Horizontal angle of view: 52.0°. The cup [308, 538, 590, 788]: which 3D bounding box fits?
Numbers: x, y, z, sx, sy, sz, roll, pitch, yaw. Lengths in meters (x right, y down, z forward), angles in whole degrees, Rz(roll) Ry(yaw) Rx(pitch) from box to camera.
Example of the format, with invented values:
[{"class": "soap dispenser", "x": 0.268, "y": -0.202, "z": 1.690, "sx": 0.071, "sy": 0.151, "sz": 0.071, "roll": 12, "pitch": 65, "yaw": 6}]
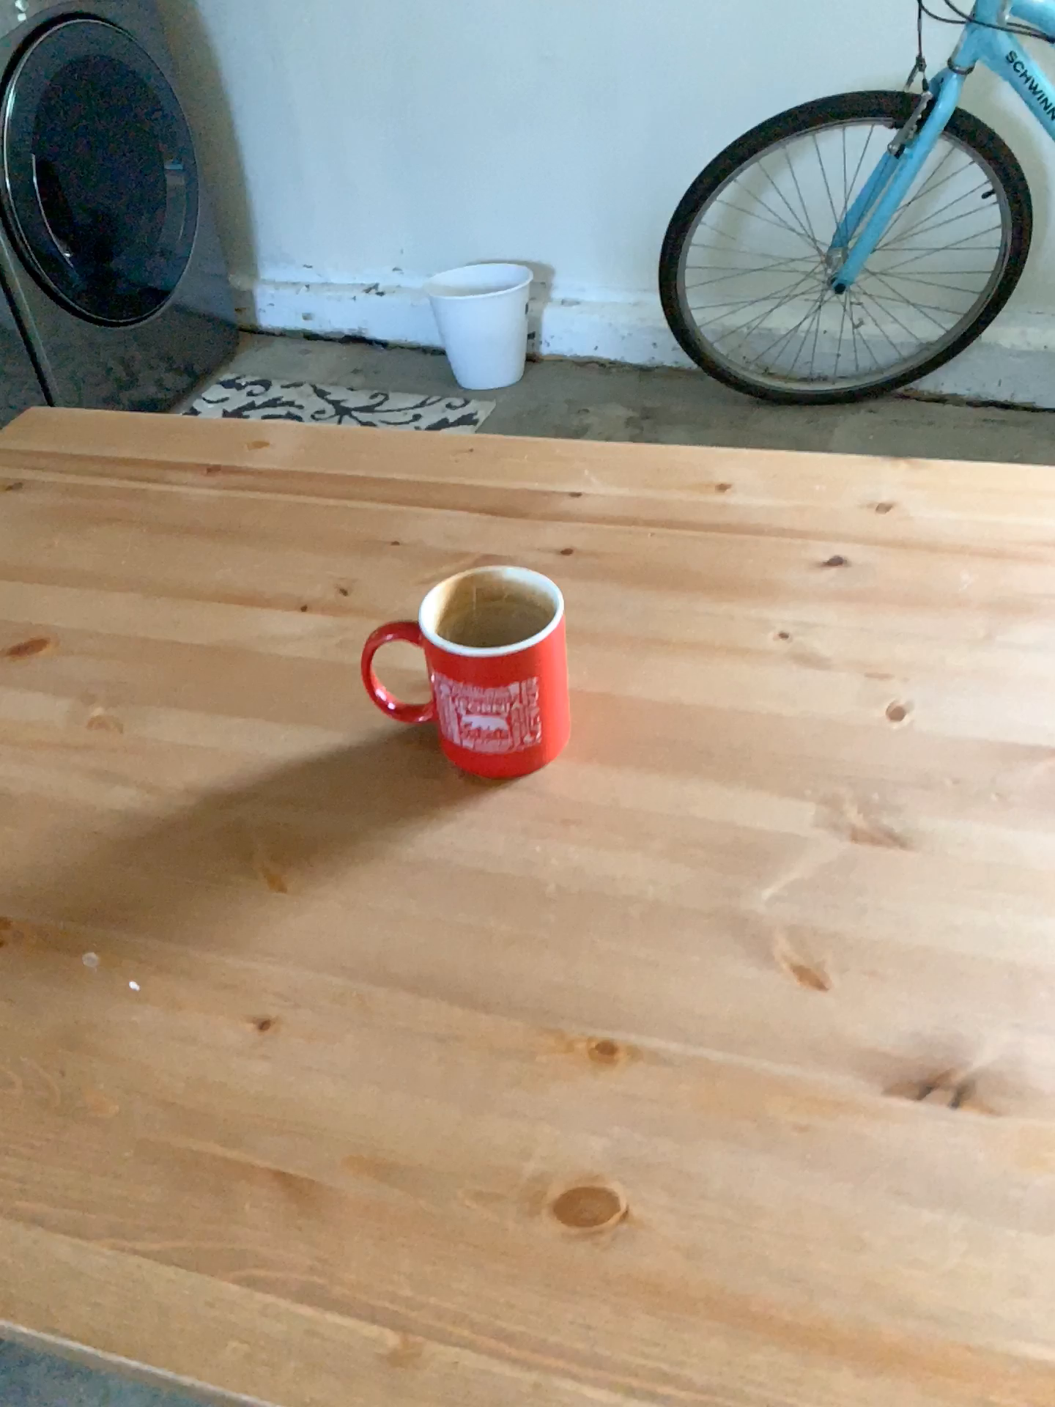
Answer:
[{"class": "cup", "x": -0.039, "y": -0.025, "z": 0.625, "sx": 0.130, "sy": 0.100, "sz": 0.090, "roll": 5, "pitch": 43, "yaw": 13}]
